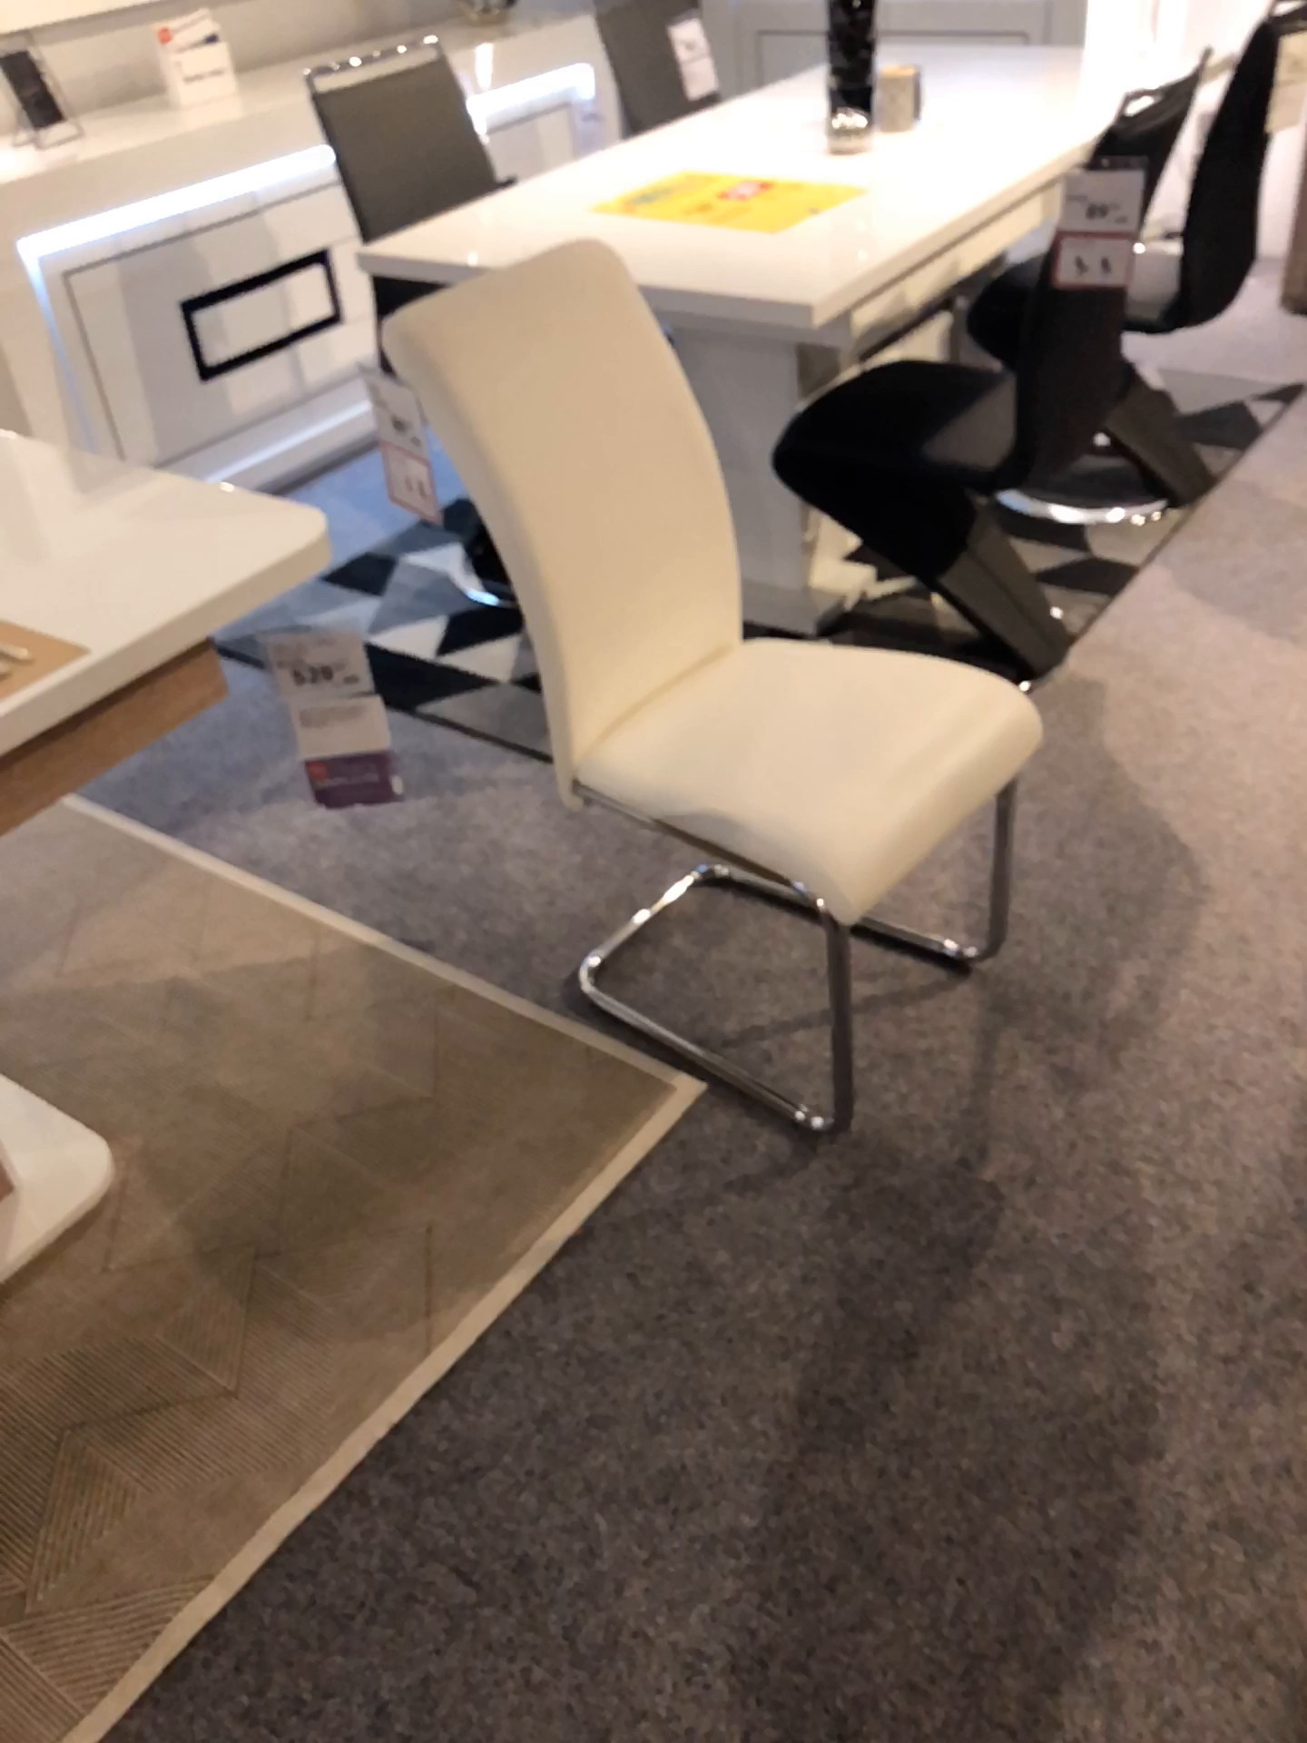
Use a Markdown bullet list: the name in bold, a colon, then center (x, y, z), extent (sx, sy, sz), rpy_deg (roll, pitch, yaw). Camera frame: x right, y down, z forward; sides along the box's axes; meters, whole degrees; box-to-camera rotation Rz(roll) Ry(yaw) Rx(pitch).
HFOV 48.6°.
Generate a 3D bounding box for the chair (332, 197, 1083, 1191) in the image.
- **chair**: center (0.098, -0.214, 1.693), extent (0.550, 0.925, 0.503), rpy_deg (20, 44, 31)
